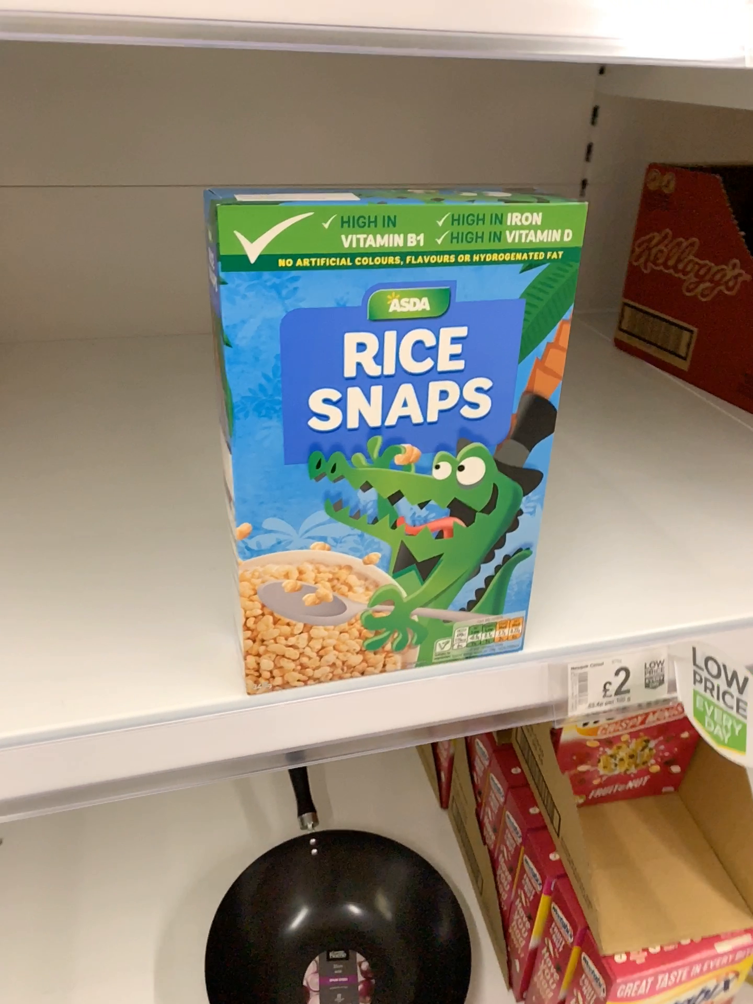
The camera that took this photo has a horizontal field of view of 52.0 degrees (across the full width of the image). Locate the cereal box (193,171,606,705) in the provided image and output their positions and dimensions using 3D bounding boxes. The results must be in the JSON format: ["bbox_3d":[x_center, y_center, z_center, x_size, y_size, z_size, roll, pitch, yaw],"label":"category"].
[{"bbox_3d":[0.005,-0.031,0.448,0.190,0.287,0.071,-6,30,-15],"label":"cereal box"}]
